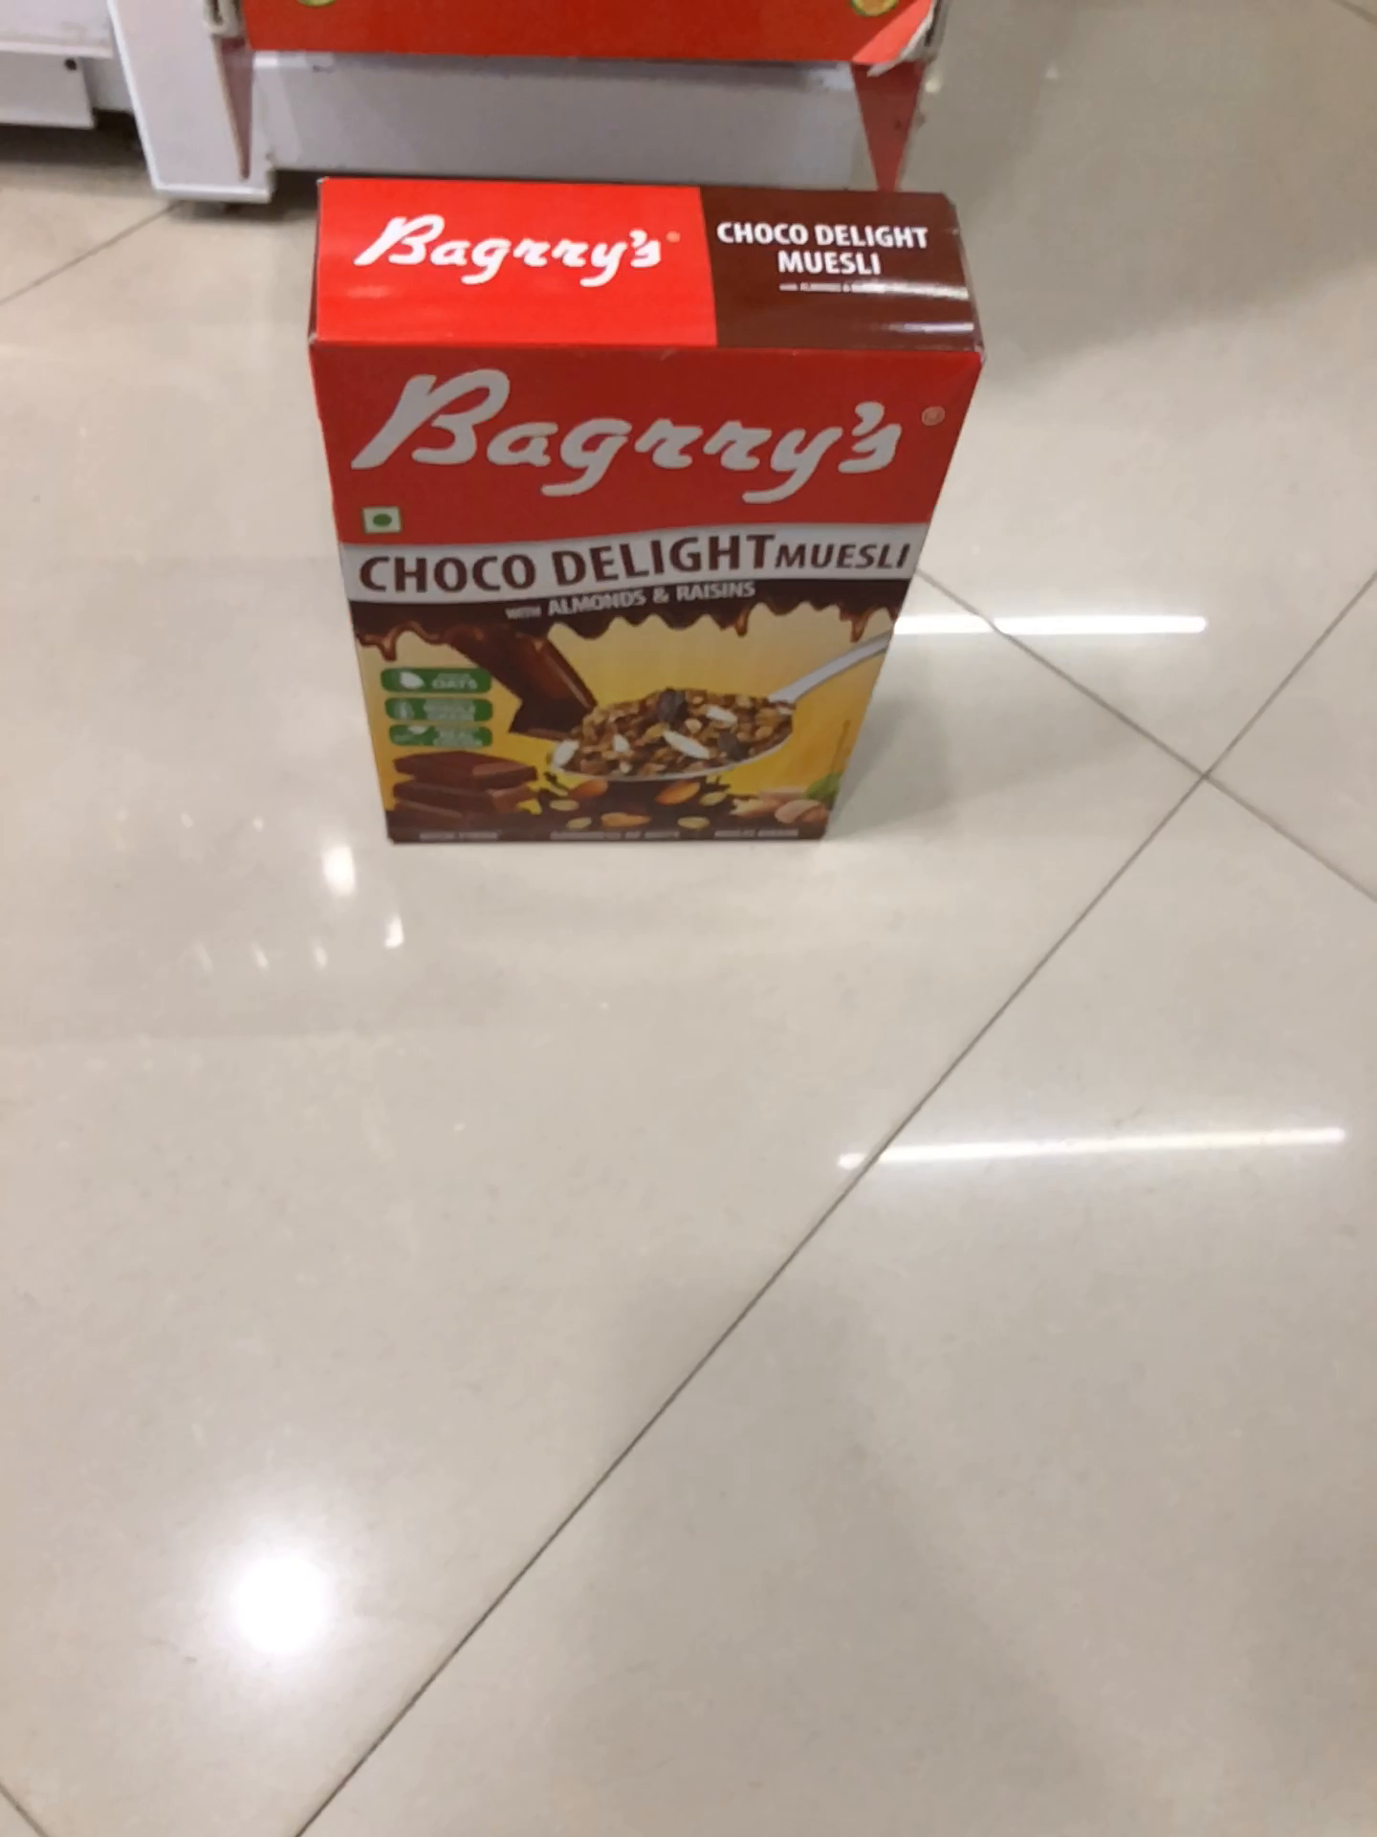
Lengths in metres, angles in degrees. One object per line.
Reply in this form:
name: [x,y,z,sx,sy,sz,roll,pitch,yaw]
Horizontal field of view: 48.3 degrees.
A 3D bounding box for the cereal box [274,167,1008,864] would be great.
cereal box: [-0.024,-0.114,0.527,0.190,0.259,0.070,-1,62,-7]
